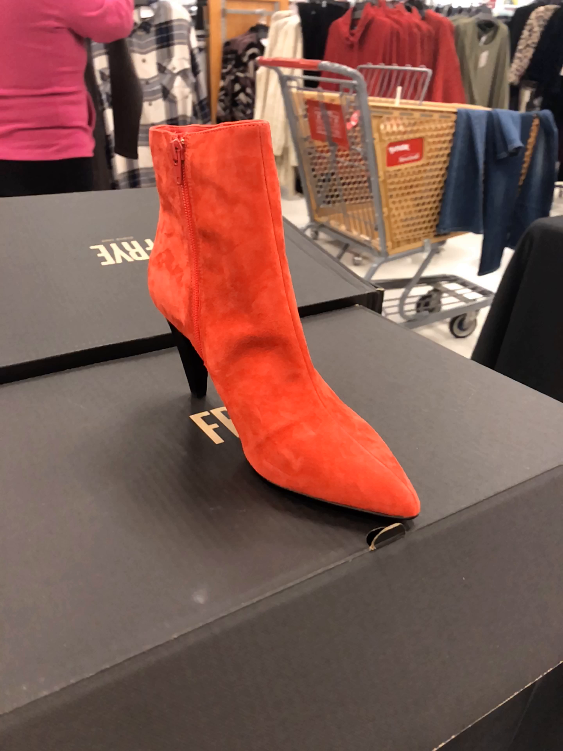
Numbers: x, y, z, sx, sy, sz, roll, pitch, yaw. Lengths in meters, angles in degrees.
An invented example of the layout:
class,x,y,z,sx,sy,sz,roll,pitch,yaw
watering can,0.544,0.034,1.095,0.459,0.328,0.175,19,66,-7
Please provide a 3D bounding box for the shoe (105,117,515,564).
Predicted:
class,x,y,z,sx,sy,sz,roll,pitch,yaw
shoe,-0.003,-0.052,0.405,0.100,0.211,0.261,-17,28,-32
